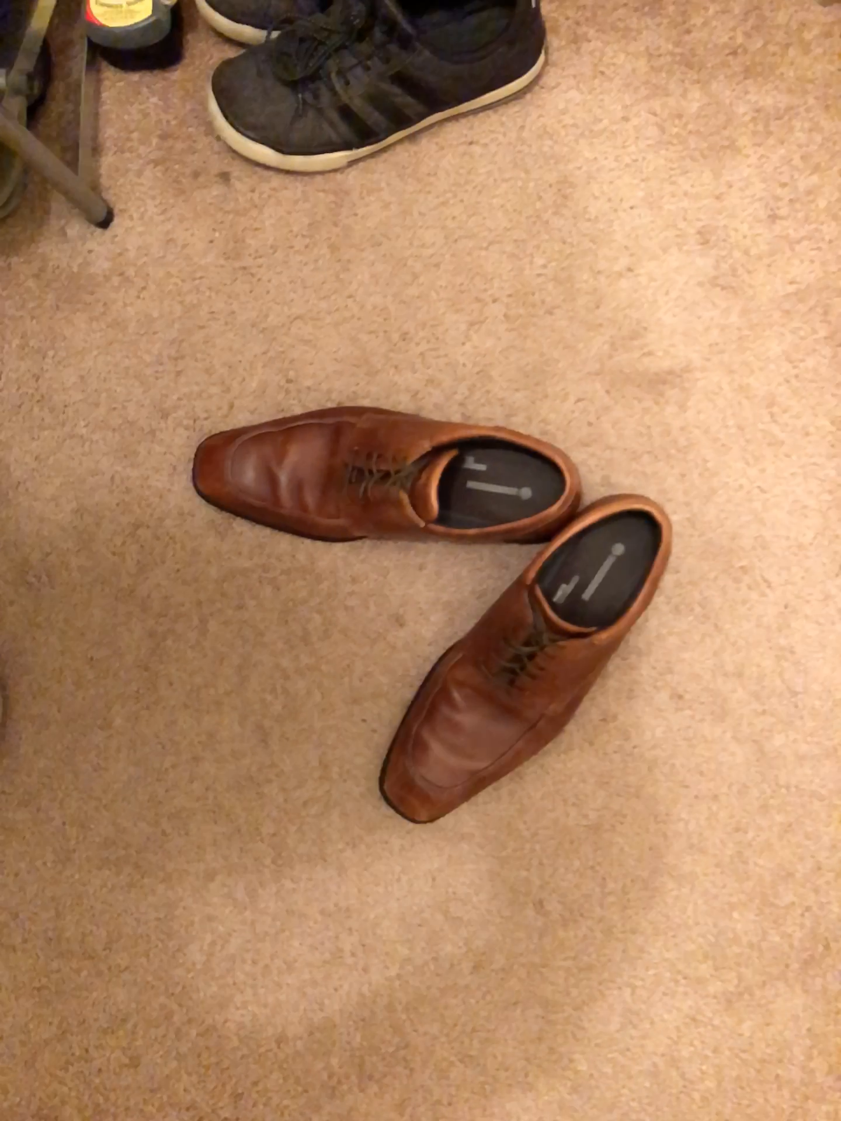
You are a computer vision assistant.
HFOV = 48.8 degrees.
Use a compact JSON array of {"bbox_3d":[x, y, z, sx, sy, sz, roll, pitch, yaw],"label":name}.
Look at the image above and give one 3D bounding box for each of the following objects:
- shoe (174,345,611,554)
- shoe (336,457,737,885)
[{"bbox_3d":[-0.018,-0.080,0.713,0.300,0.120,0.120,5,87,3],"label":"shoe"},{"bbox_3d":[0.082,0.077,0.689,0.100,0.110,0.300,41,90,4],"label":"shoe"}]
